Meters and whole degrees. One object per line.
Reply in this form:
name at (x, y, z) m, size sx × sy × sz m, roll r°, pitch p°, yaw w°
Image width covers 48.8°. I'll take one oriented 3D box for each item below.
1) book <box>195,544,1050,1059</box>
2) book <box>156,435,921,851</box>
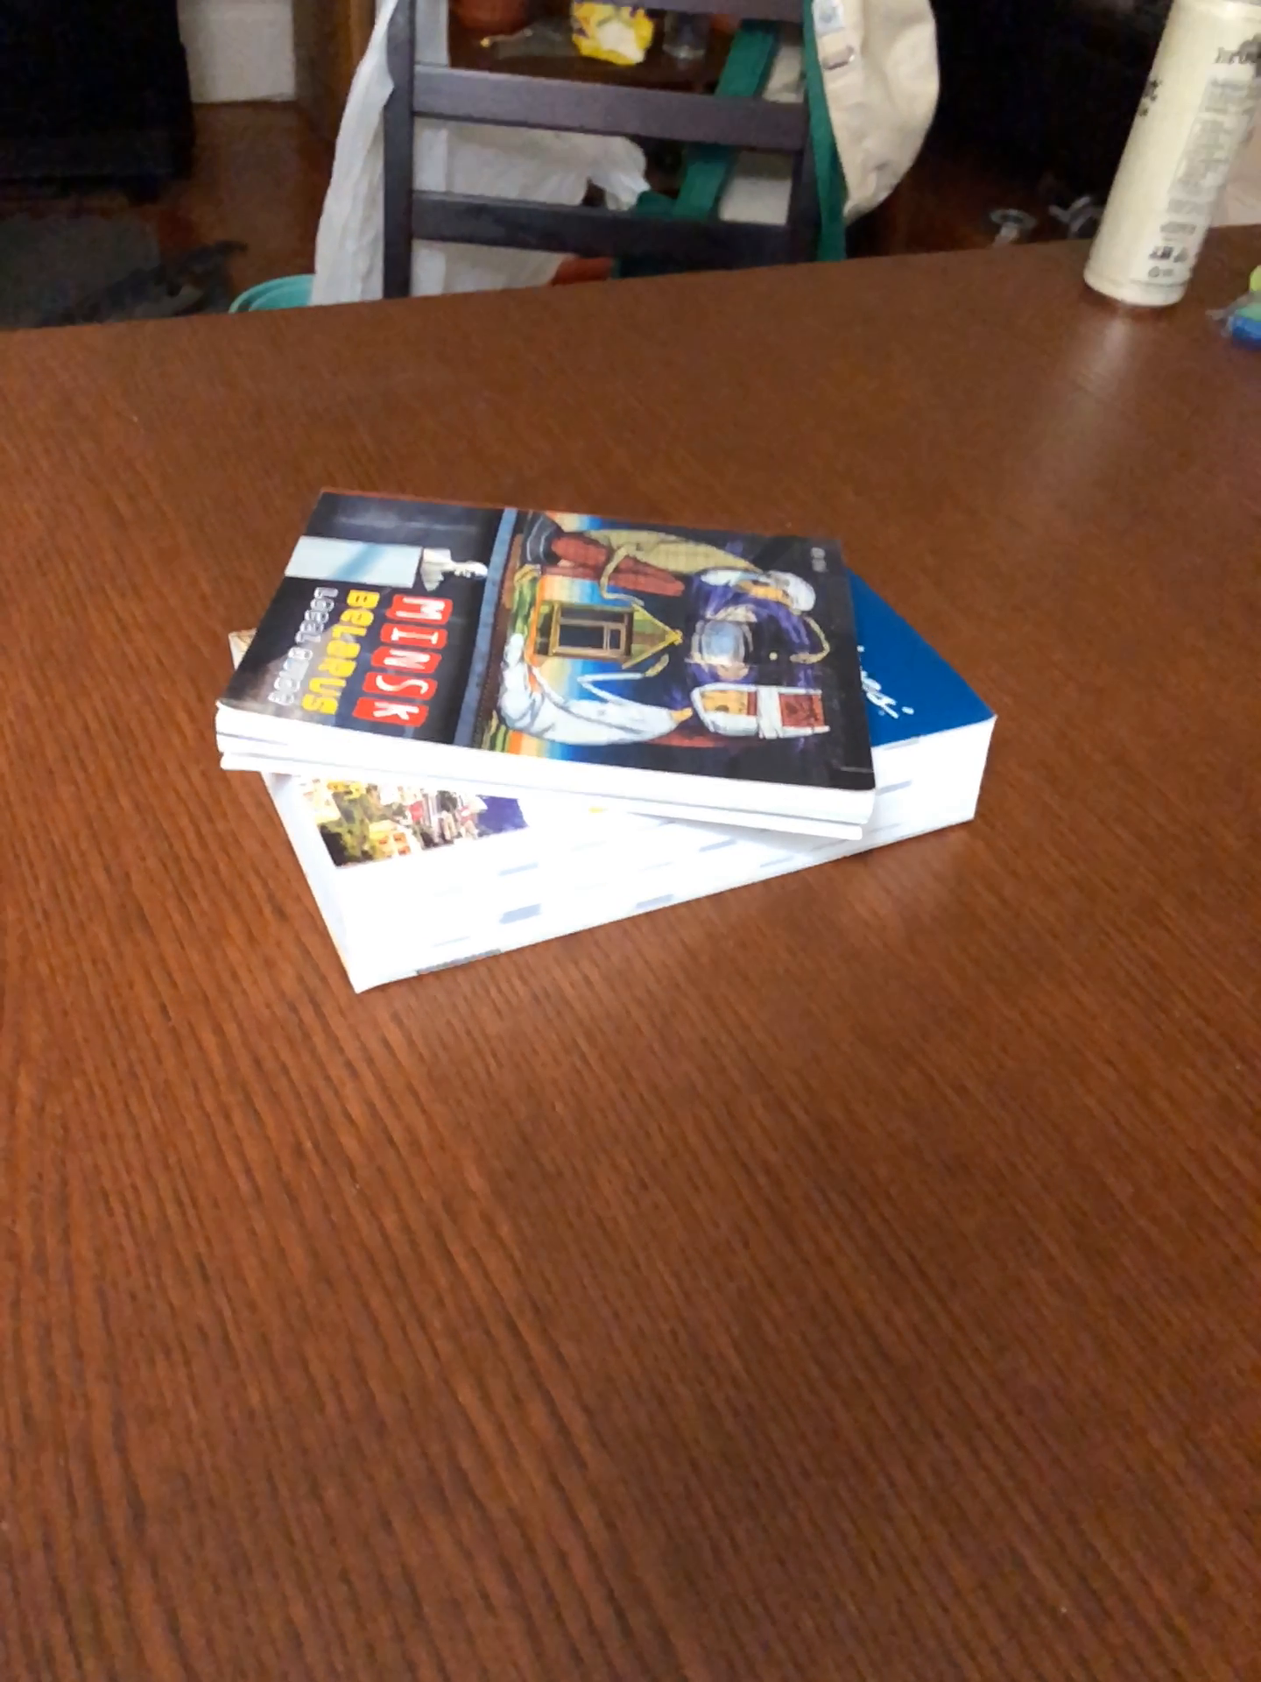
book at (-0.005, -0.025, 0.424) m, size 0.220 × 0.040 × 0.131 m, roll -13°, pitch 47°, yaw -22°
book at (-0.021, -0.064, 0.407) m, size 0.190 × 0.020 × 0.151 m, roll 5°, pitch 43°, yaw -3°
